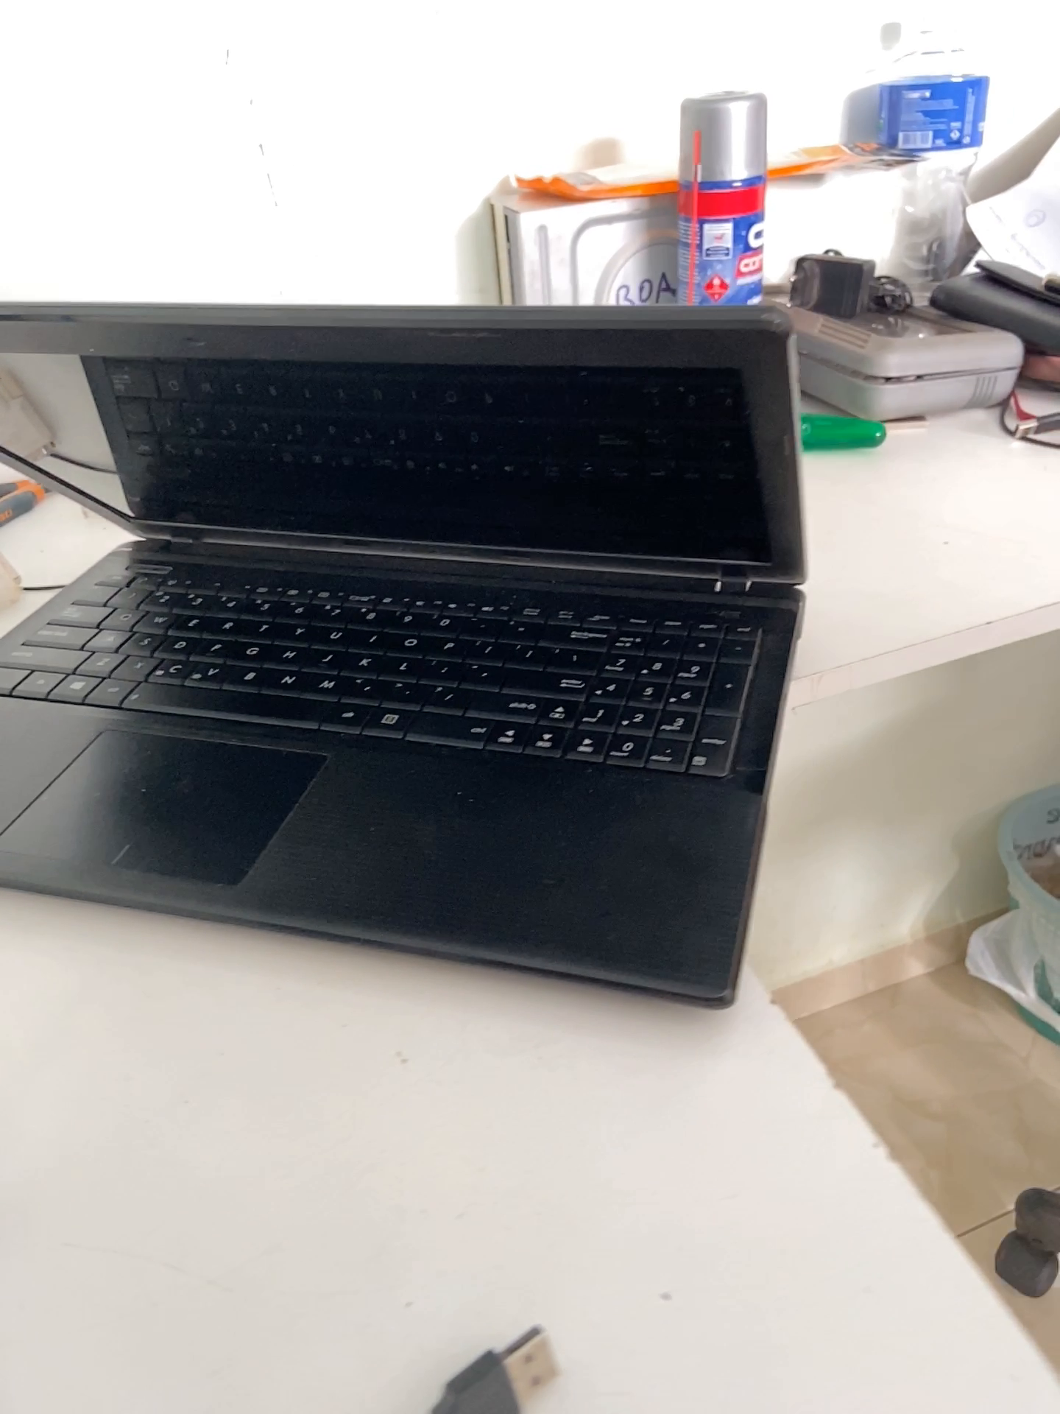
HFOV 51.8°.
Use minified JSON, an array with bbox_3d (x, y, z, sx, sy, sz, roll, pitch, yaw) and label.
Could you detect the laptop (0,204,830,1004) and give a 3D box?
[{"bbox_3d":[-0.093,-0.073,0.429,0.376,0.165,0.248,6,36,17],"label":"laptop"}]
